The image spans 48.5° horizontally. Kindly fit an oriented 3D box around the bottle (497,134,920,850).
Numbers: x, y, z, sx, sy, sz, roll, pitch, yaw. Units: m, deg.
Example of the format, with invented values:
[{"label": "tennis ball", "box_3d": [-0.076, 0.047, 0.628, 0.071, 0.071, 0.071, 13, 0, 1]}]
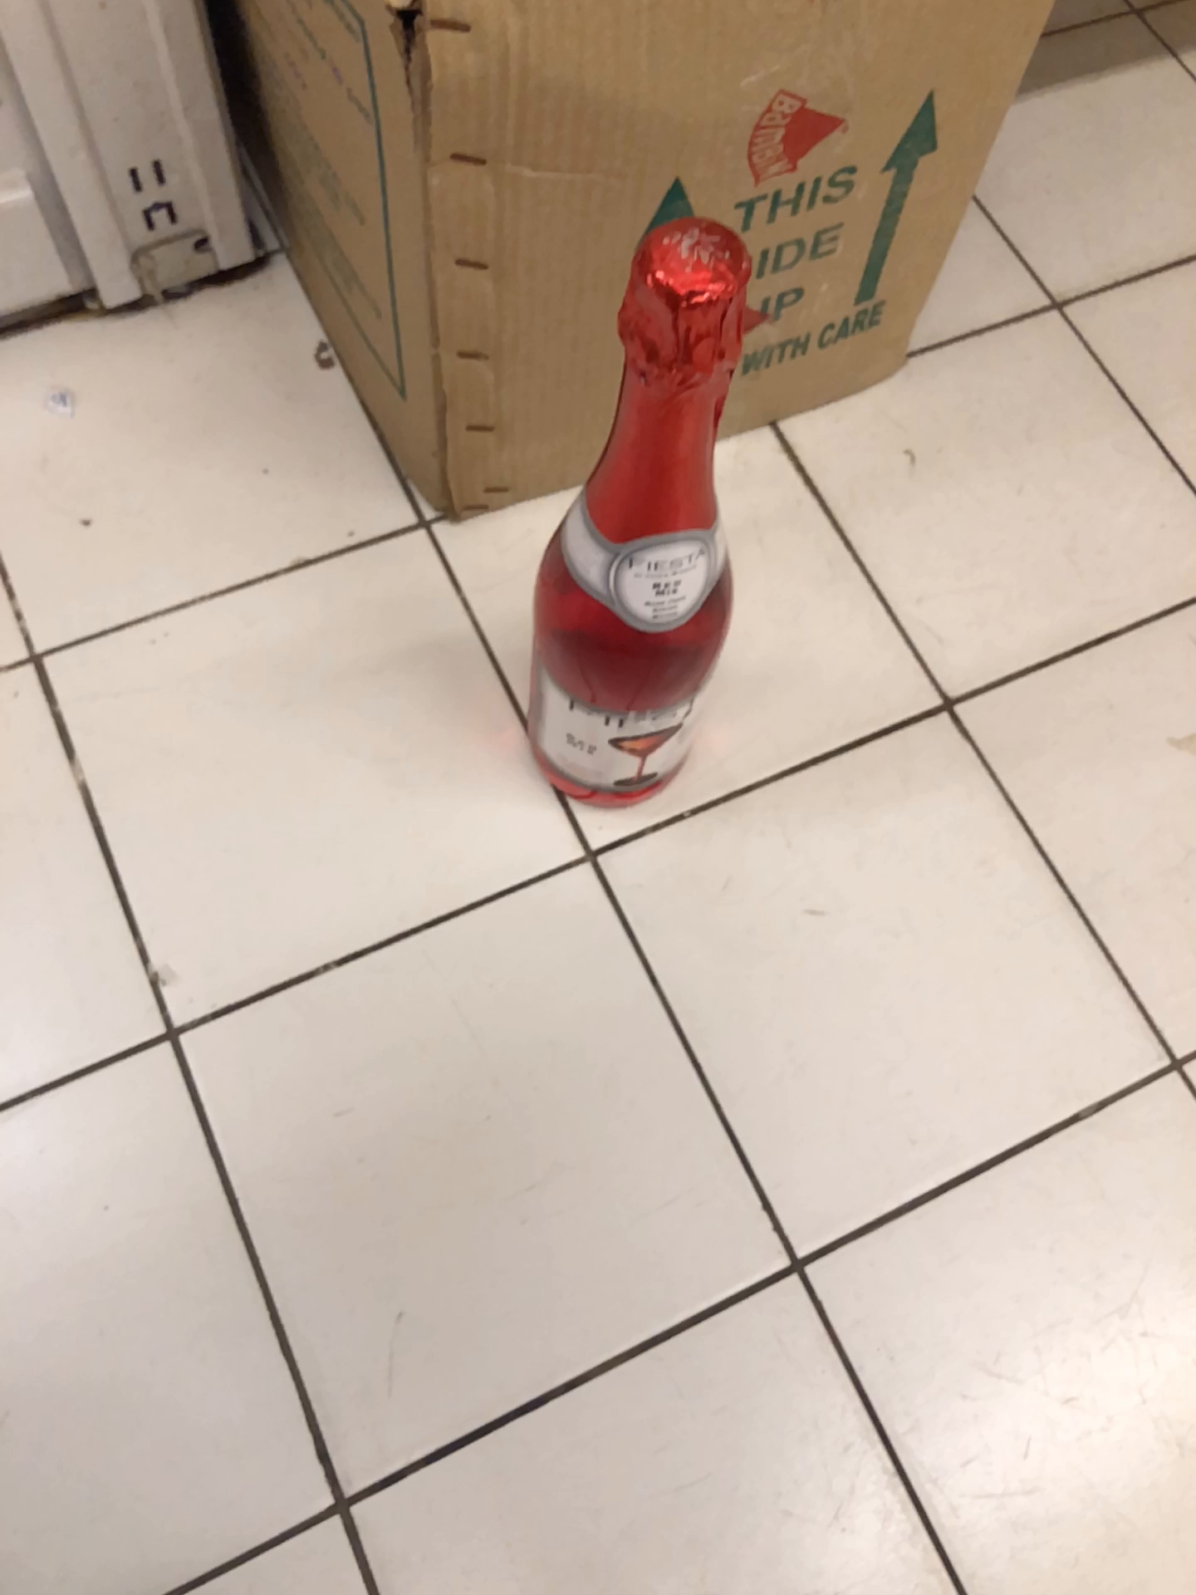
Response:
[{"label": "bottle", "box_3d": [0.019, -0.083, 0.494, 0.090, 0.299, 0.080, -17, 69, -12]}]
